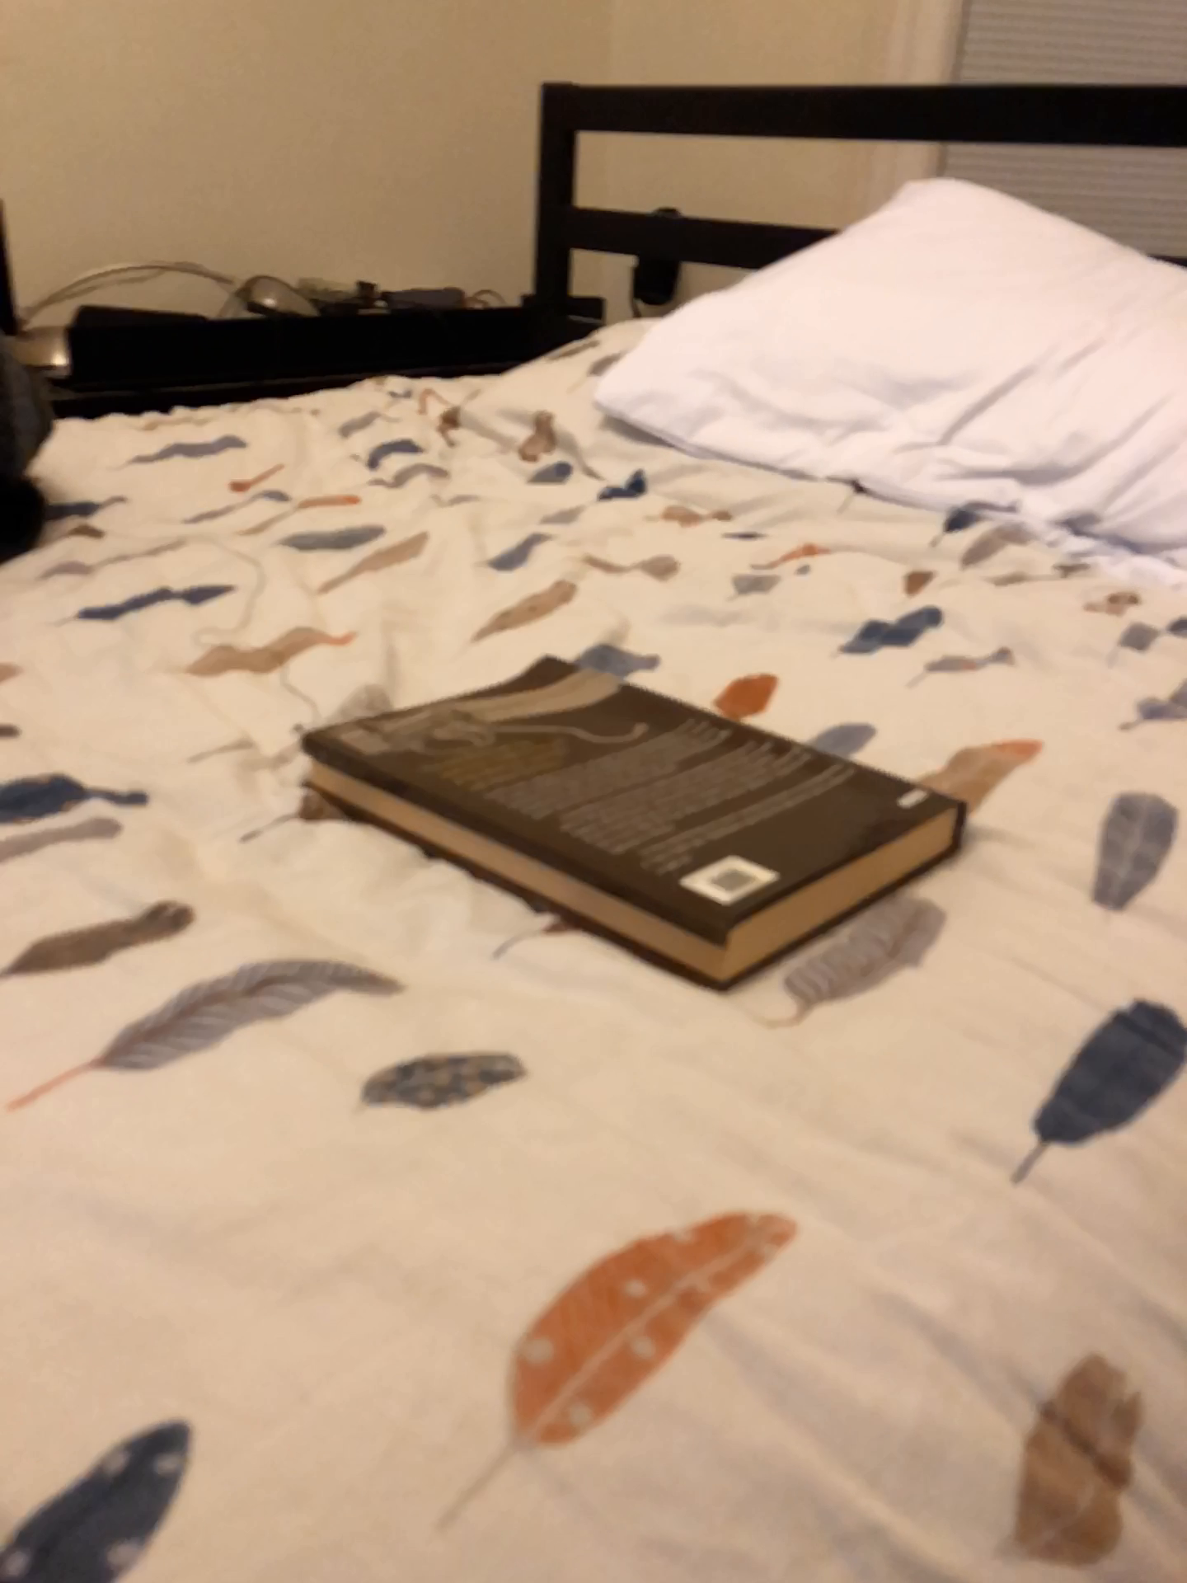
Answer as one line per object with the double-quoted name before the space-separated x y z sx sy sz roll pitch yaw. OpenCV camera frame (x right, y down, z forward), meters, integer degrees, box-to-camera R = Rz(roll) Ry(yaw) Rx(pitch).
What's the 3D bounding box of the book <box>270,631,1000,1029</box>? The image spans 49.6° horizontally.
"book" 0.012 -0.004 0.531 0.241 0.030 0.181 25 33 38
